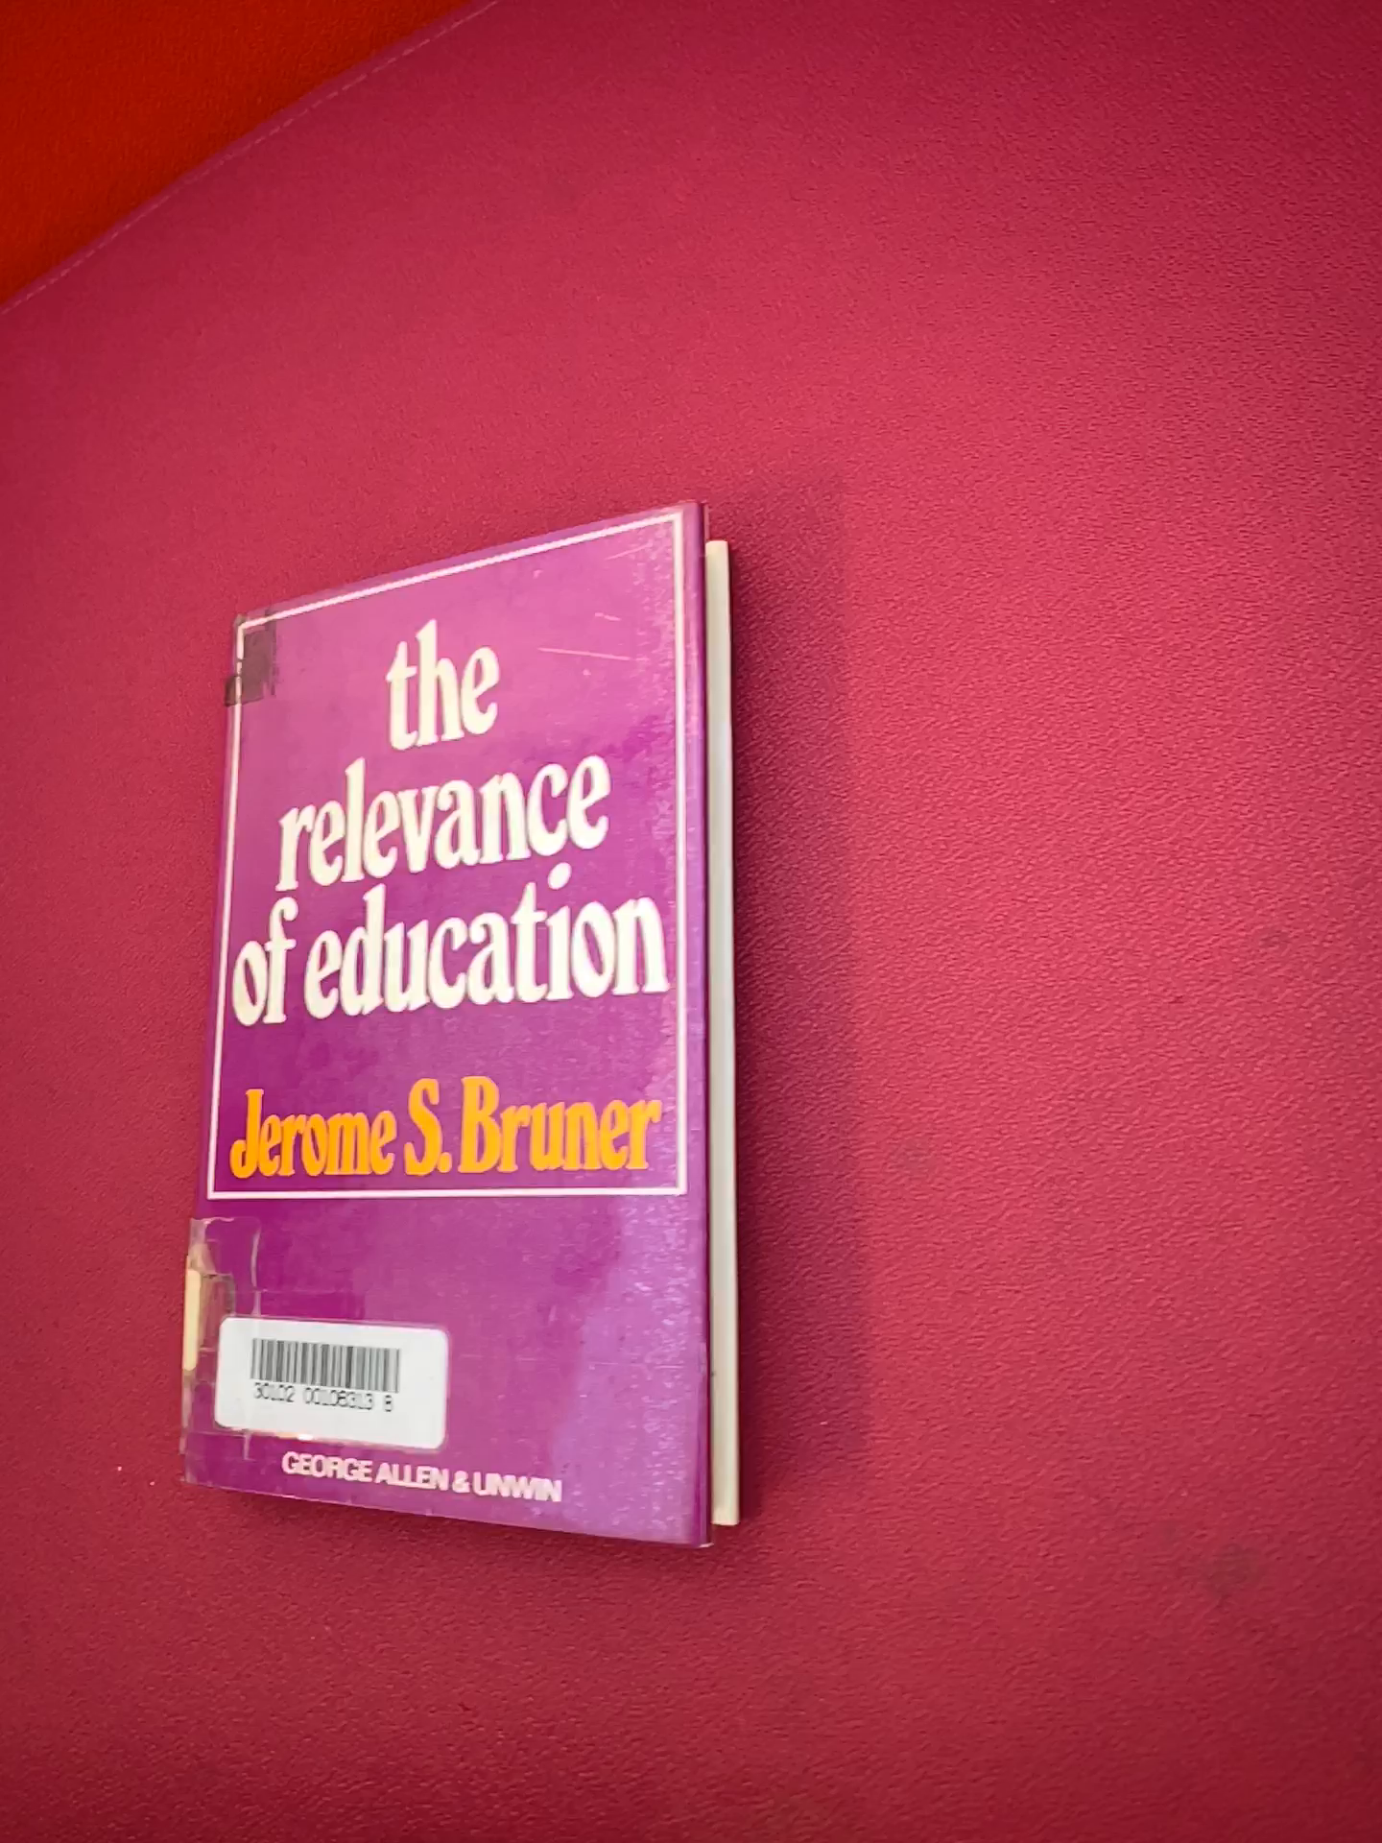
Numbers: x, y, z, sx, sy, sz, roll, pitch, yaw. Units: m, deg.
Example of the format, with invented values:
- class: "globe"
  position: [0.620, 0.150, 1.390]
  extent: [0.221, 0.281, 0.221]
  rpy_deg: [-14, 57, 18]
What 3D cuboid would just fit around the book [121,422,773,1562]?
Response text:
- class: "book"
  position: [-0.059, 0.016, 0.338]
  extent: [0.150, 0.040, 0.230]
  rpy_deg: [-6, 78, 28]
